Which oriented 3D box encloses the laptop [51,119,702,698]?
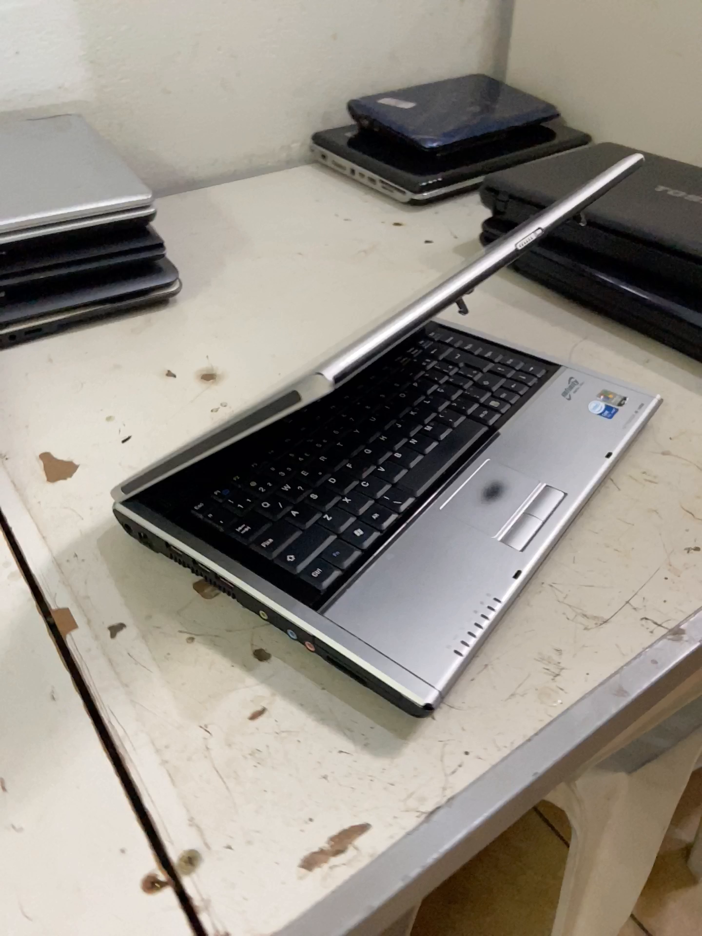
[{"bbox_3d":[0.045,-0.079,0.454,0.227,0.164,0.332,25,45,28],"label":"laptop"}]
